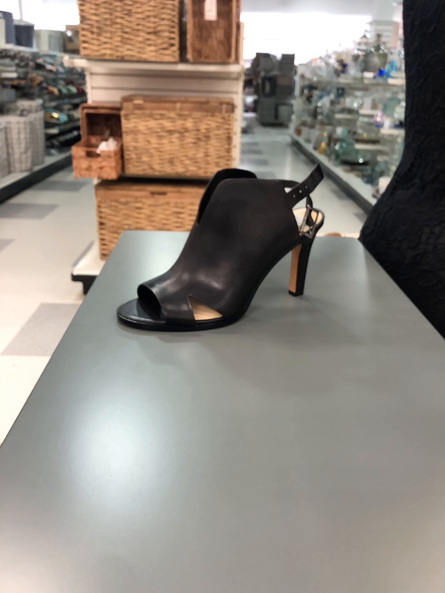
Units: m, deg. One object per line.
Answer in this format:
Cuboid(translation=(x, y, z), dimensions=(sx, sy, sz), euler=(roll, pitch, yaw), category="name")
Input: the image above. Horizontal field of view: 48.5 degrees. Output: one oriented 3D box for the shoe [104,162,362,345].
Cuboid(translation=(0.008, -0.055, 0.520), dimensions=(0.240, 0.152, 0.092), euler=(-7, 24, -20), category="shoe")
